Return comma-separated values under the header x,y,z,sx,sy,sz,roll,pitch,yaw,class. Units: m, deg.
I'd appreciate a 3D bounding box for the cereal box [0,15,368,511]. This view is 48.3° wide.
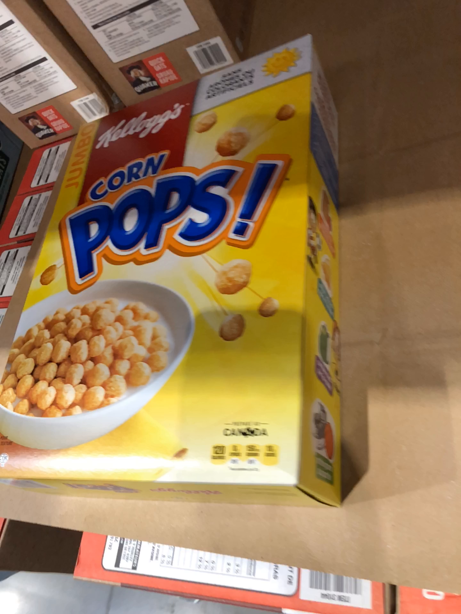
x,y,z,sx,sy,sz,roll,pitch,yaw,class
-0.041,-0.032,0.413,0.271,0.100,0.340,-9,59,27,cereal box
